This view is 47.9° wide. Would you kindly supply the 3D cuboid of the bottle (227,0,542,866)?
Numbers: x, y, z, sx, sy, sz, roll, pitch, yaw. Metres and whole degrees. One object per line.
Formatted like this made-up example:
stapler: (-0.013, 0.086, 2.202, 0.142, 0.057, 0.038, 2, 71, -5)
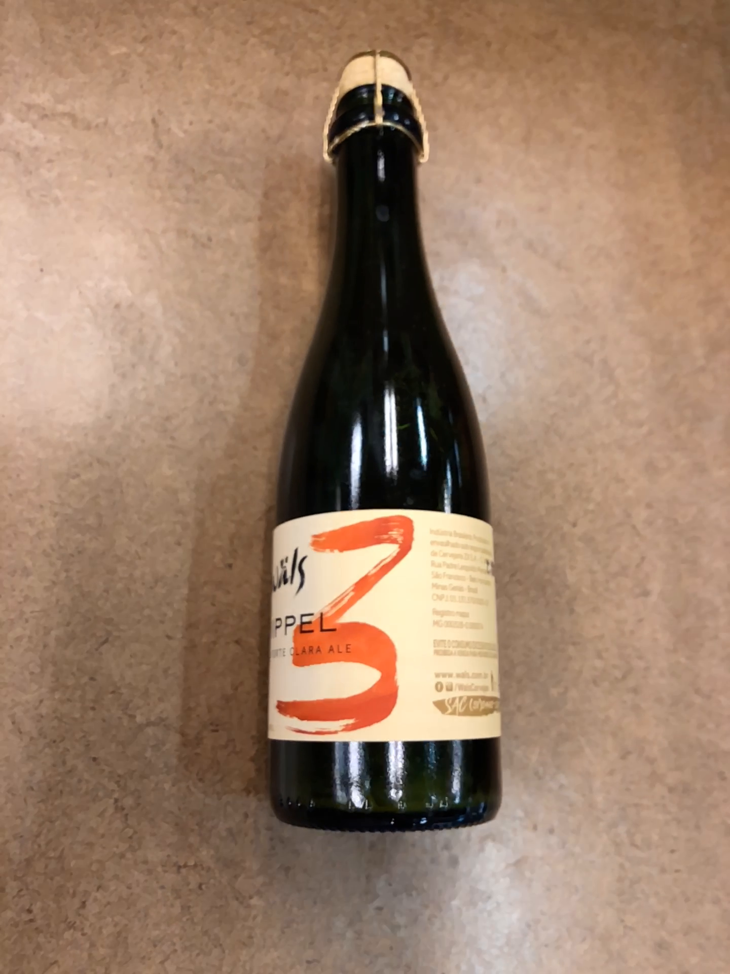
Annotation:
bottle: (0.002, -0.038, 0.250, 0.070, 0.050, 0.270, 5, 74, -18)
